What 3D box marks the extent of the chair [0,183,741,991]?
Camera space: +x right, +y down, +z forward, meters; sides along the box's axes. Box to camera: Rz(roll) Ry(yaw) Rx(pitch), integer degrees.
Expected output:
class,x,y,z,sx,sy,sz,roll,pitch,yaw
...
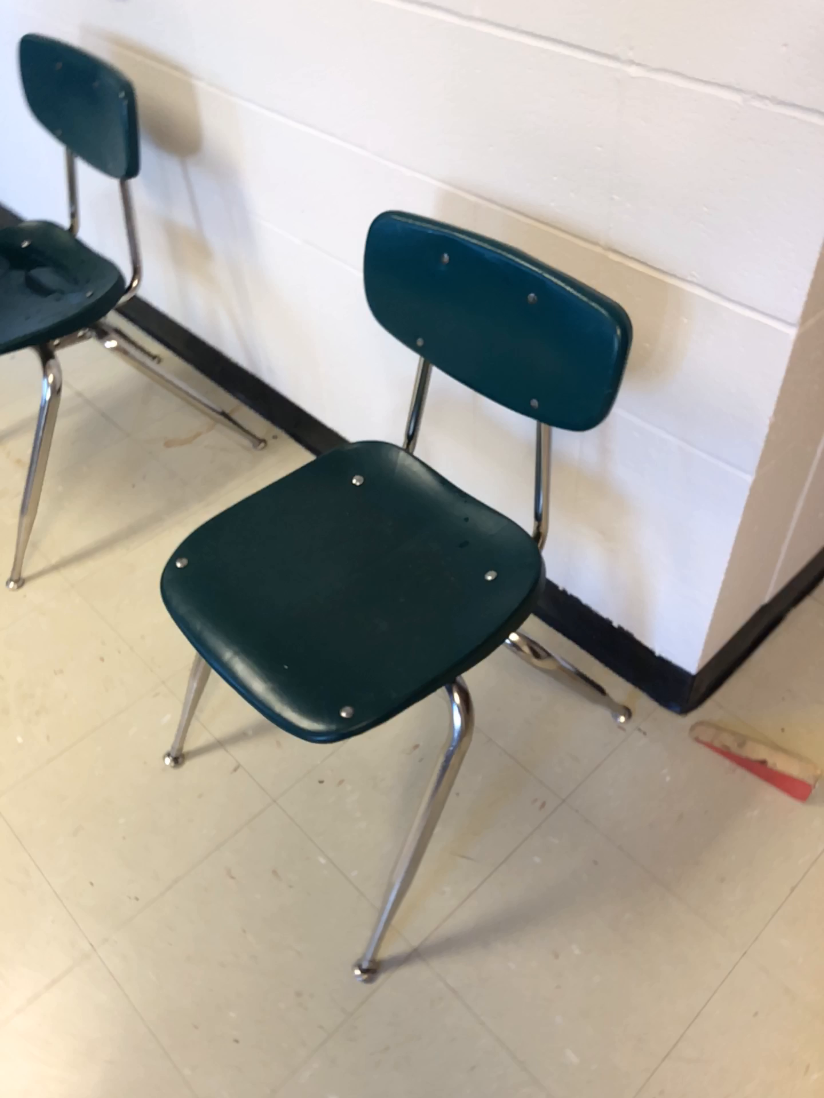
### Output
class,x,y,z,sx,sy,sz,roll,pitch,yaw
chair,-0.026,0.042,1.154,0.591,0.695,0.482,-36,53,-27
